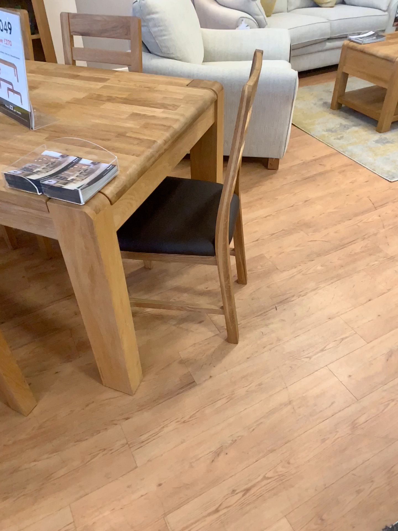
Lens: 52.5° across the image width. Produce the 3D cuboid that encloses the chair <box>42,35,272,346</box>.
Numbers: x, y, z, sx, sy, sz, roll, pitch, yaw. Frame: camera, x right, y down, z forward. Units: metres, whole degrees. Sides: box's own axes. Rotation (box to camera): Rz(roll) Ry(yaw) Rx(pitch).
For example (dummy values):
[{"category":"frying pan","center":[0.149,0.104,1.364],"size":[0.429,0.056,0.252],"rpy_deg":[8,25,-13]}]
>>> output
[{"category":"chair","center":[-0.071,-0.218,1.384],"size":[0.517,0.917,0.425],"rpy_deg":[7,42,10]}]
